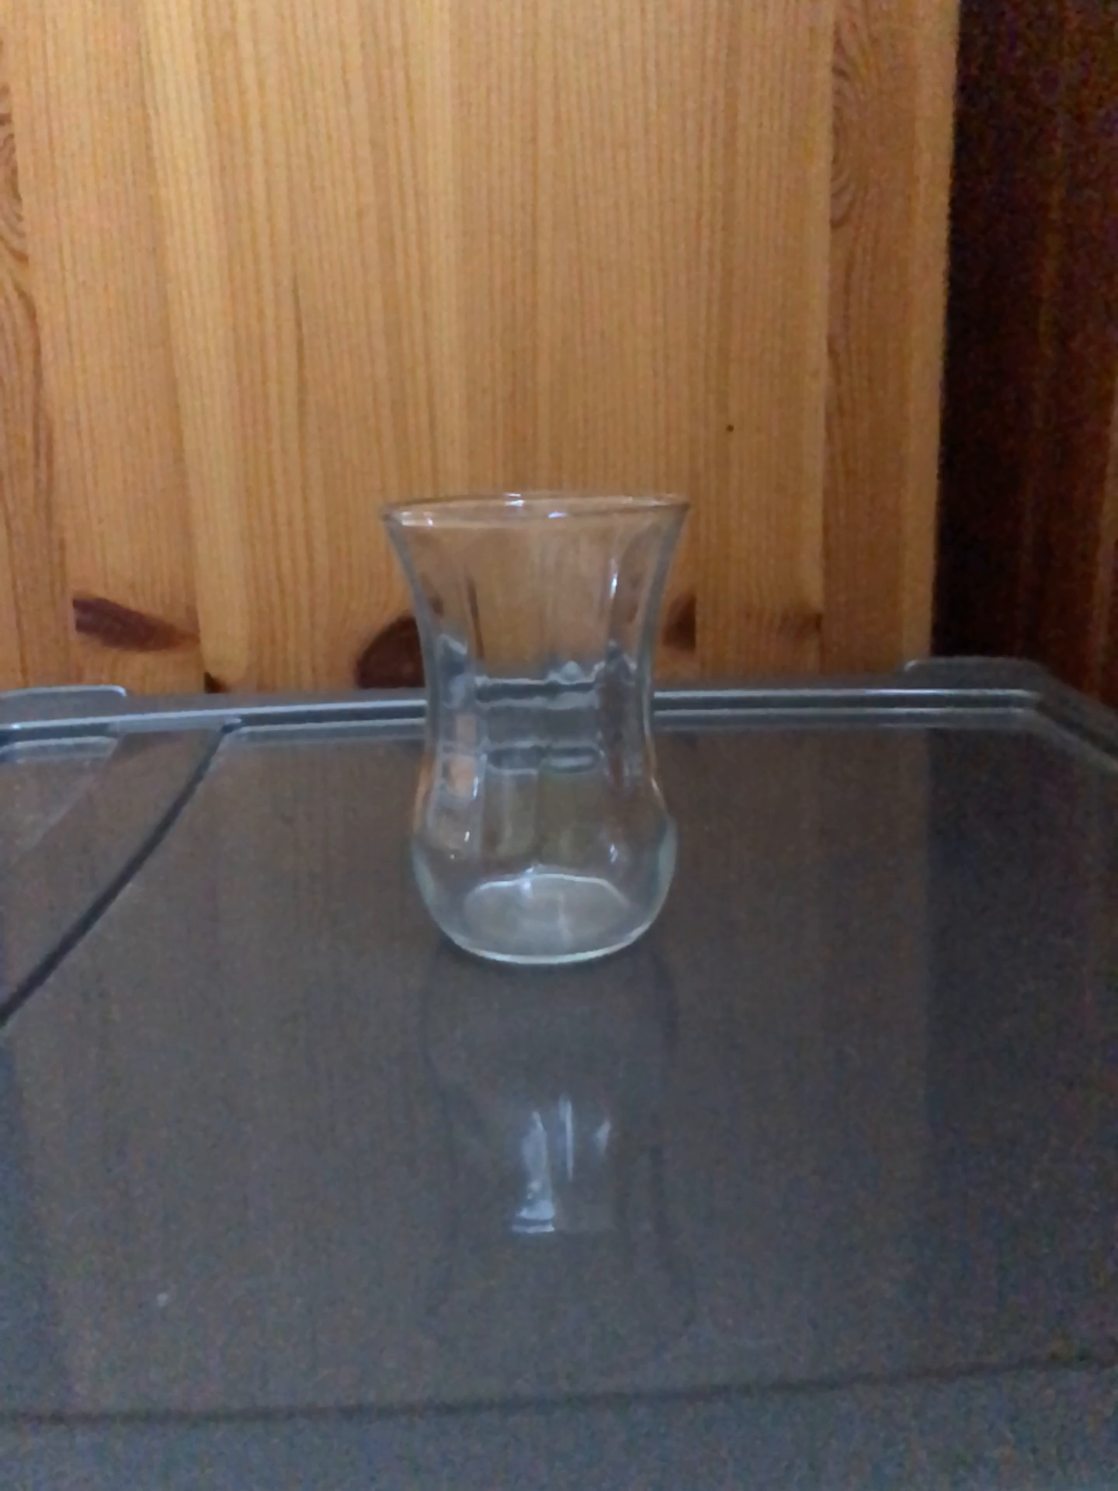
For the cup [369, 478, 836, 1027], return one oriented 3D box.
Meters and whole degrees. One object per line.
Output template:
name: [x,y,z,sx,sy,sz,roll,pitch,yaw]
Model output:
cup: [0.006,-0.005,0.225,0.060,0.080,0.060,-1,15,0]
